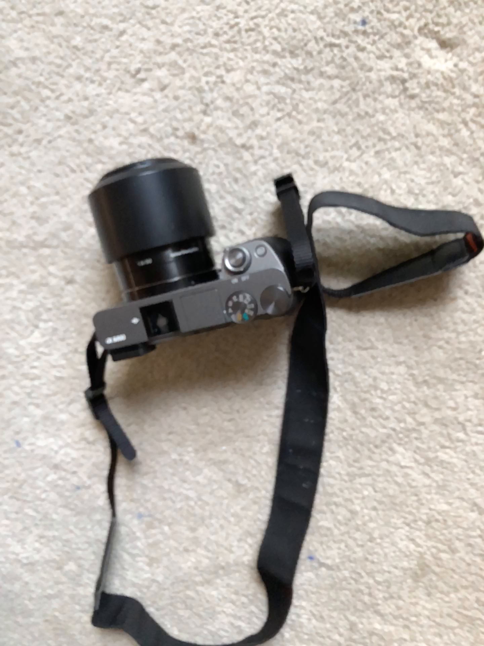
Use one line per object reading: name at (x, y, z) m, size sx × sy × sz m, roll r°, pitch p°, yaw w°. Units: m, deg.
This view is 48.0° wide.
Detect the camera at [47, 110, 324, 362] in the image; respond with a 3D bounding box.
camera at (-0.026, -0.046, 0.312) m, size 0.120 × 0.070 × 0.100 m, roll -13°, pitch 97°, yaw 15°
